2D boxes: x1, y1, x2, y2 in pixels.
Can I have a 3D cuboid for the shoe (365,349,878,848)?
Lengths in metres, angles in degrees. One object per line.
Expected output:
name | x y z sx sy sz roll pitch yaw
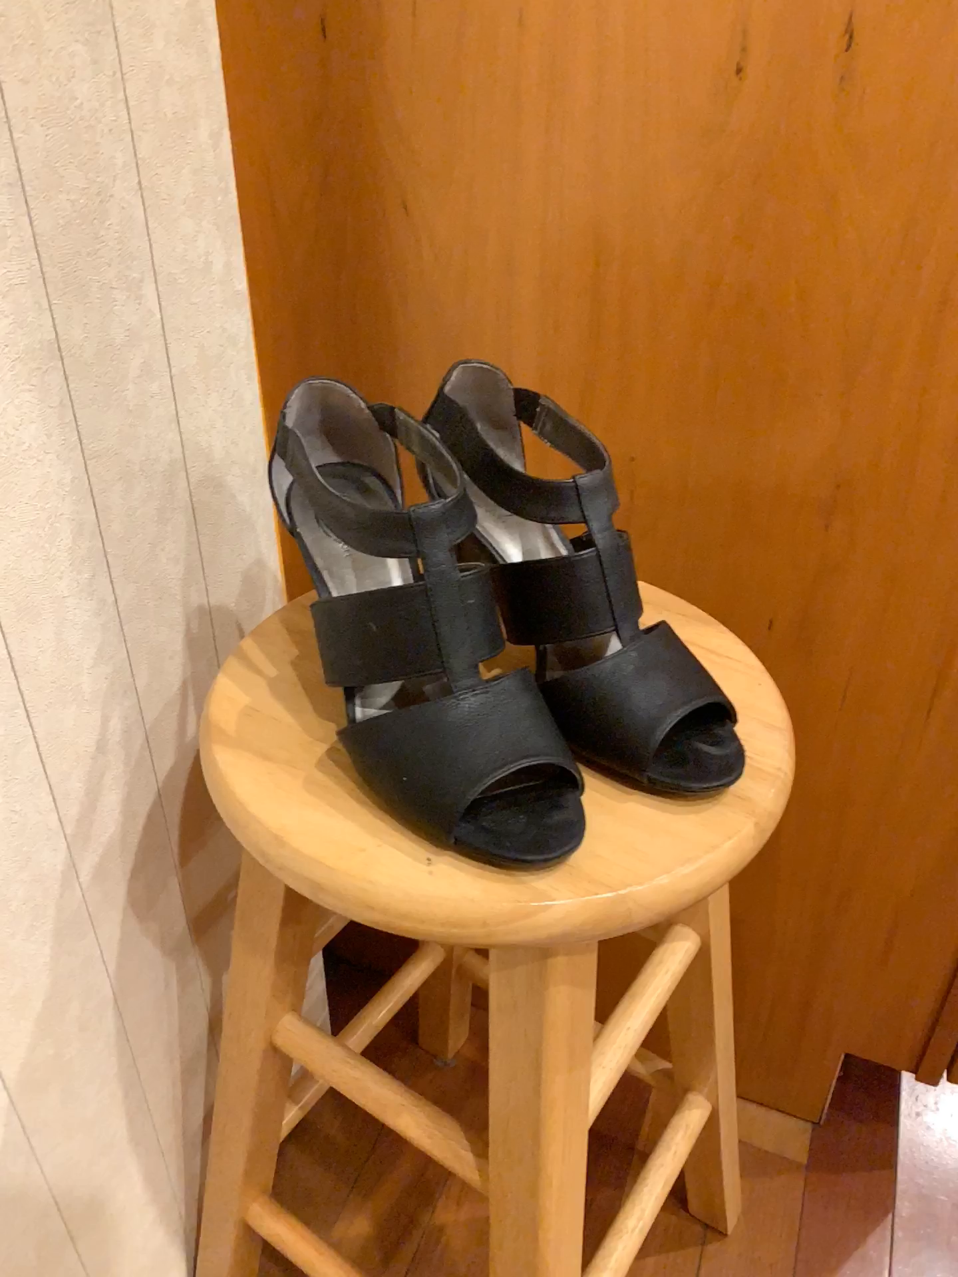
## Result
shoe | 0.048 -0.037 0.475 0.100 0.130 0.234 -20 38 -28

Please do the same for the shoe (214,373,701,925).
shoe | -0.026 -0.016 0.440 0.090 0.125 0.245 -18 38 -26
